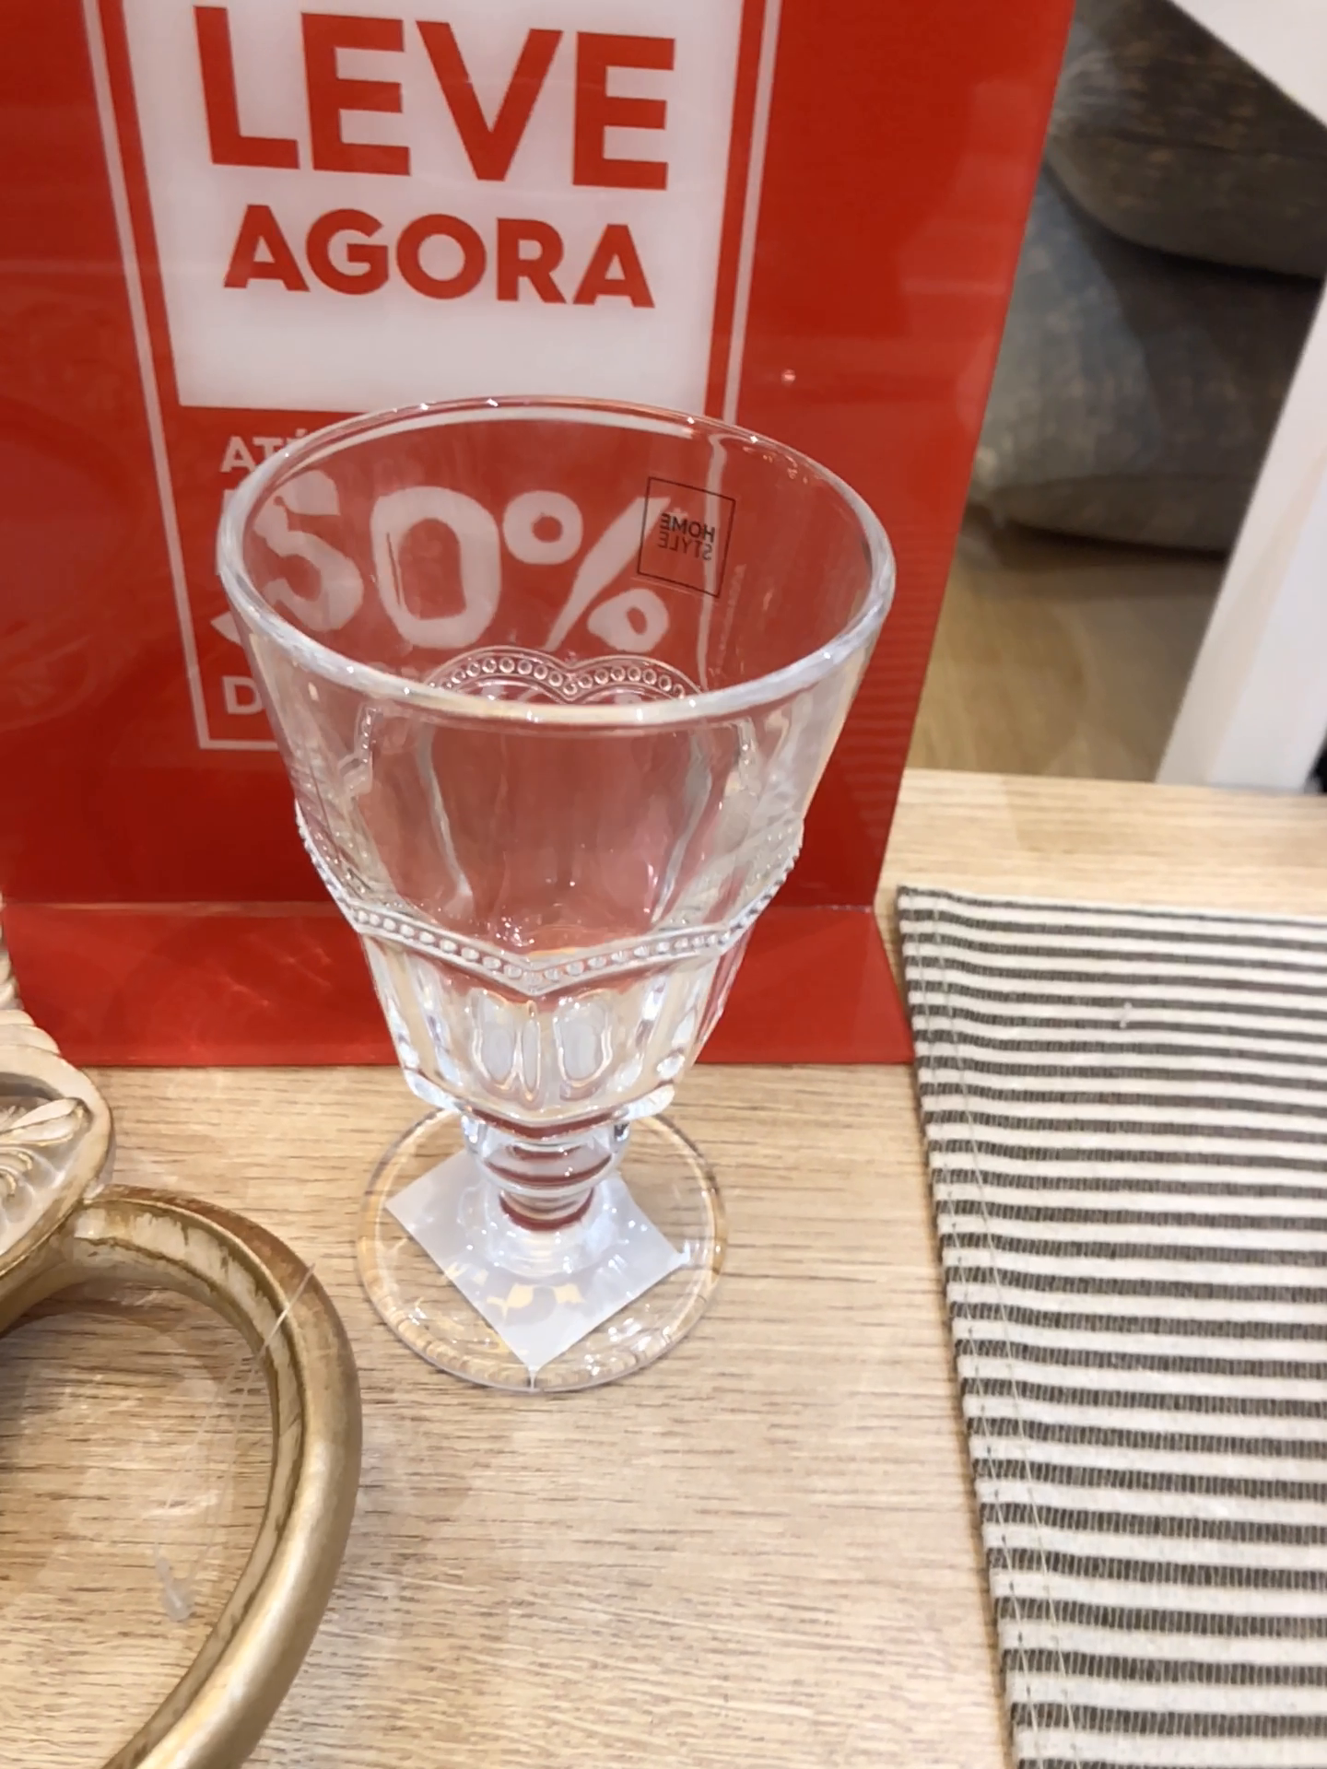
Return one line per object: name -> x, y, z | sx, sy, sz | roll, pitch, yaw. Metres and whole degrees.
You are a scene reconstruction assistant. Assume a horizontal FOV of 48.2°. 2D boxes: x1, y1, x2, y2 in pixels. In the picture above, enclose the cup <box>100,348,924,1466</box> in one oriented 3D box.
cup -> -0.016, 0.008, 0.219 | 0.080, 0.139, 0.081 | 3, 40, -2
